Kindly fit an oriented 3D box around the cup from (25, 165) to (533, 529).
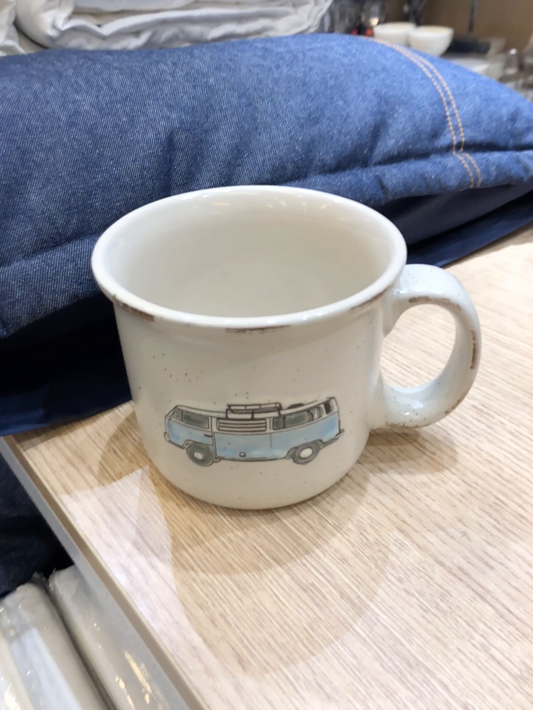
[{"bbox_3d":[0.010,-0.008,0.216,0.140,0.089,0.101,0,36,2],"label":"cup"}]
